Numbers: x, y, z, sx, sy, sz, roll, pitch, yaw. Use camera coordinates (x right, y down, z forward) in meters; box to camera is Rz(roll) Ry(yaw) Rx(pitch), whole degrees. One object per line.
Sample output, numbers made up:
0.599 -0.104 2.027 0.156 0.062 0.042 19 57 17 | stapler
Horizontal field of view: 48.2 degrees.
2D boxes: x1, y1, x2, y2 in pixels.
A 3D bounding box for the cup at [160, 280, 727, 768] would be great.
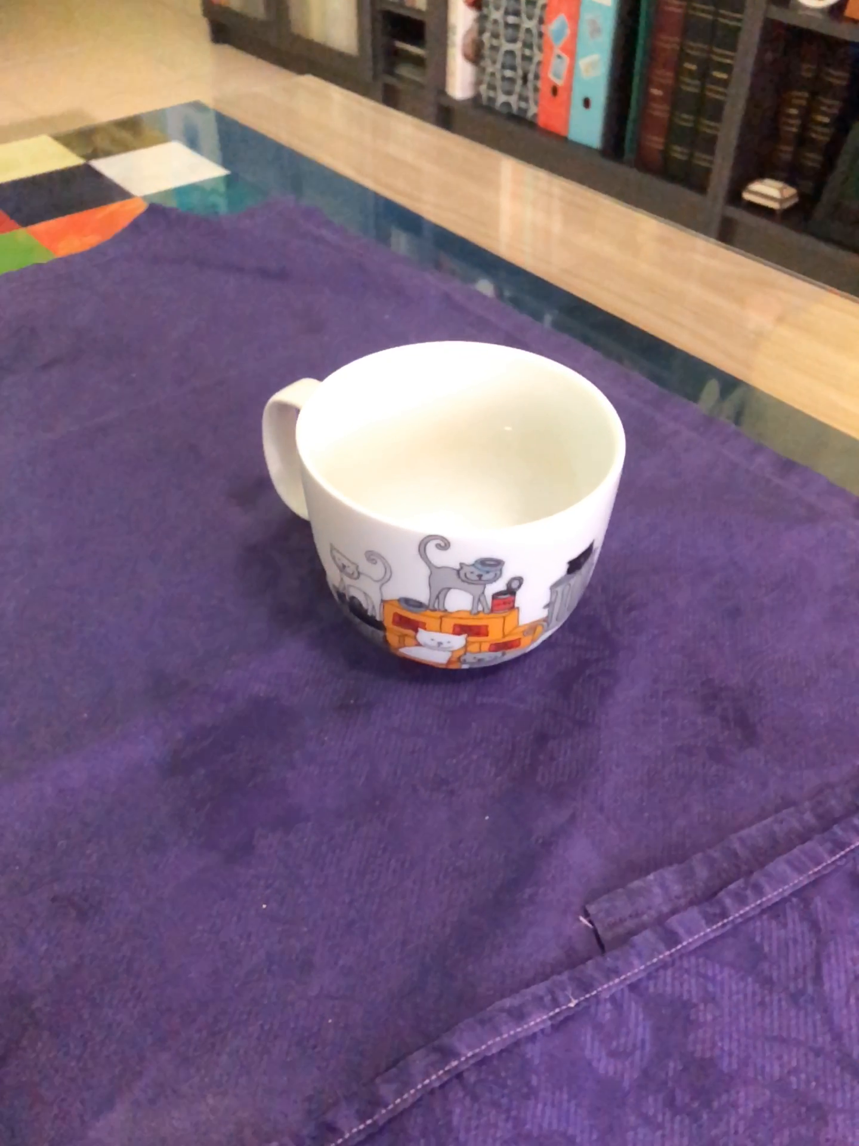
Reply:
0.002 -0.024 0.304 0.140 0.070 0.090 28 50 27 | cup
